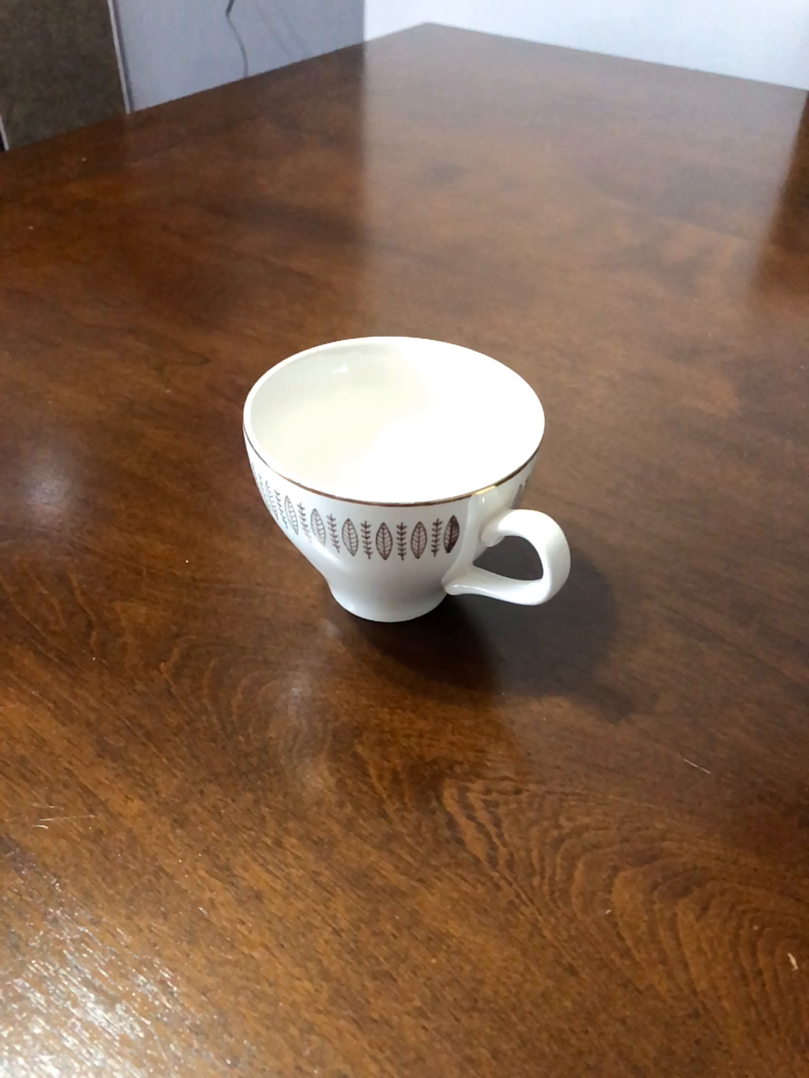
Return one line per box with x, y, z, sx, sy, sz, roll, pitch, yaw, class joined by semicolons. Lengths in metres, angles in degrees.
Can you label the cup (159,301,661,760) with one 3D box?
0.002;-0.010;0.261;0.100;0.060;0.090;29;47;27;cup
